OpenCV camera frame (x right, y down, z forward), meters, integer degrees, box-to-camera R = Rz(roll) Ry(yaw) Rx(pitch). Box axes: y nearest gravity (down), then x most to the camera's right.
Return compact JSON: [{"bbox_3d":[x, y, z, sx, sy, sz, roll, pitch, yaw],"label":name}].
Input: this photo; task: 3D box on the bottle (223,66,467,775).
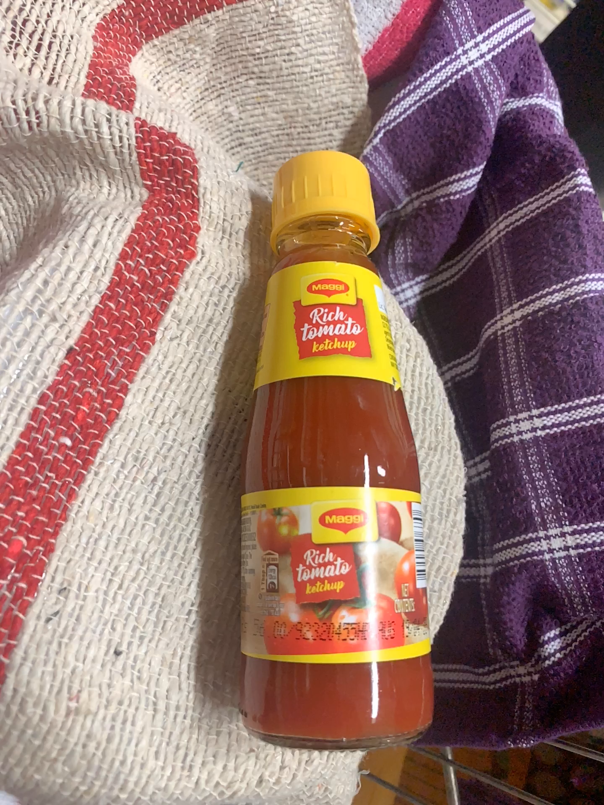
[{"bbox_3d":[0.007,-0.001,0.173,0.050,0.050,0.170,-1,76,-2],"label":"bottle"}]
